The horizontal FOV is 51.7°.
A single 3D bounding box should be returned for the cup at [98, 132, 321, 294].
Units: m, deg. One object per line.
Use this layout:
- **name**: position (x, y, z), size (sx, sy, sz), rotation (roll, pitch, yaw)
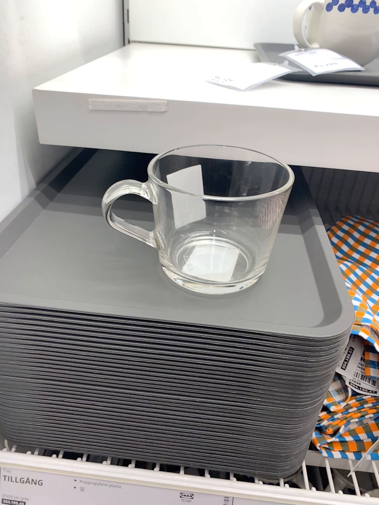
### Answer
- **cup**: position (0.007, -0.033, 0.289), size (0.130, 0.080, 0.100), rotation (0, 32, -6)
